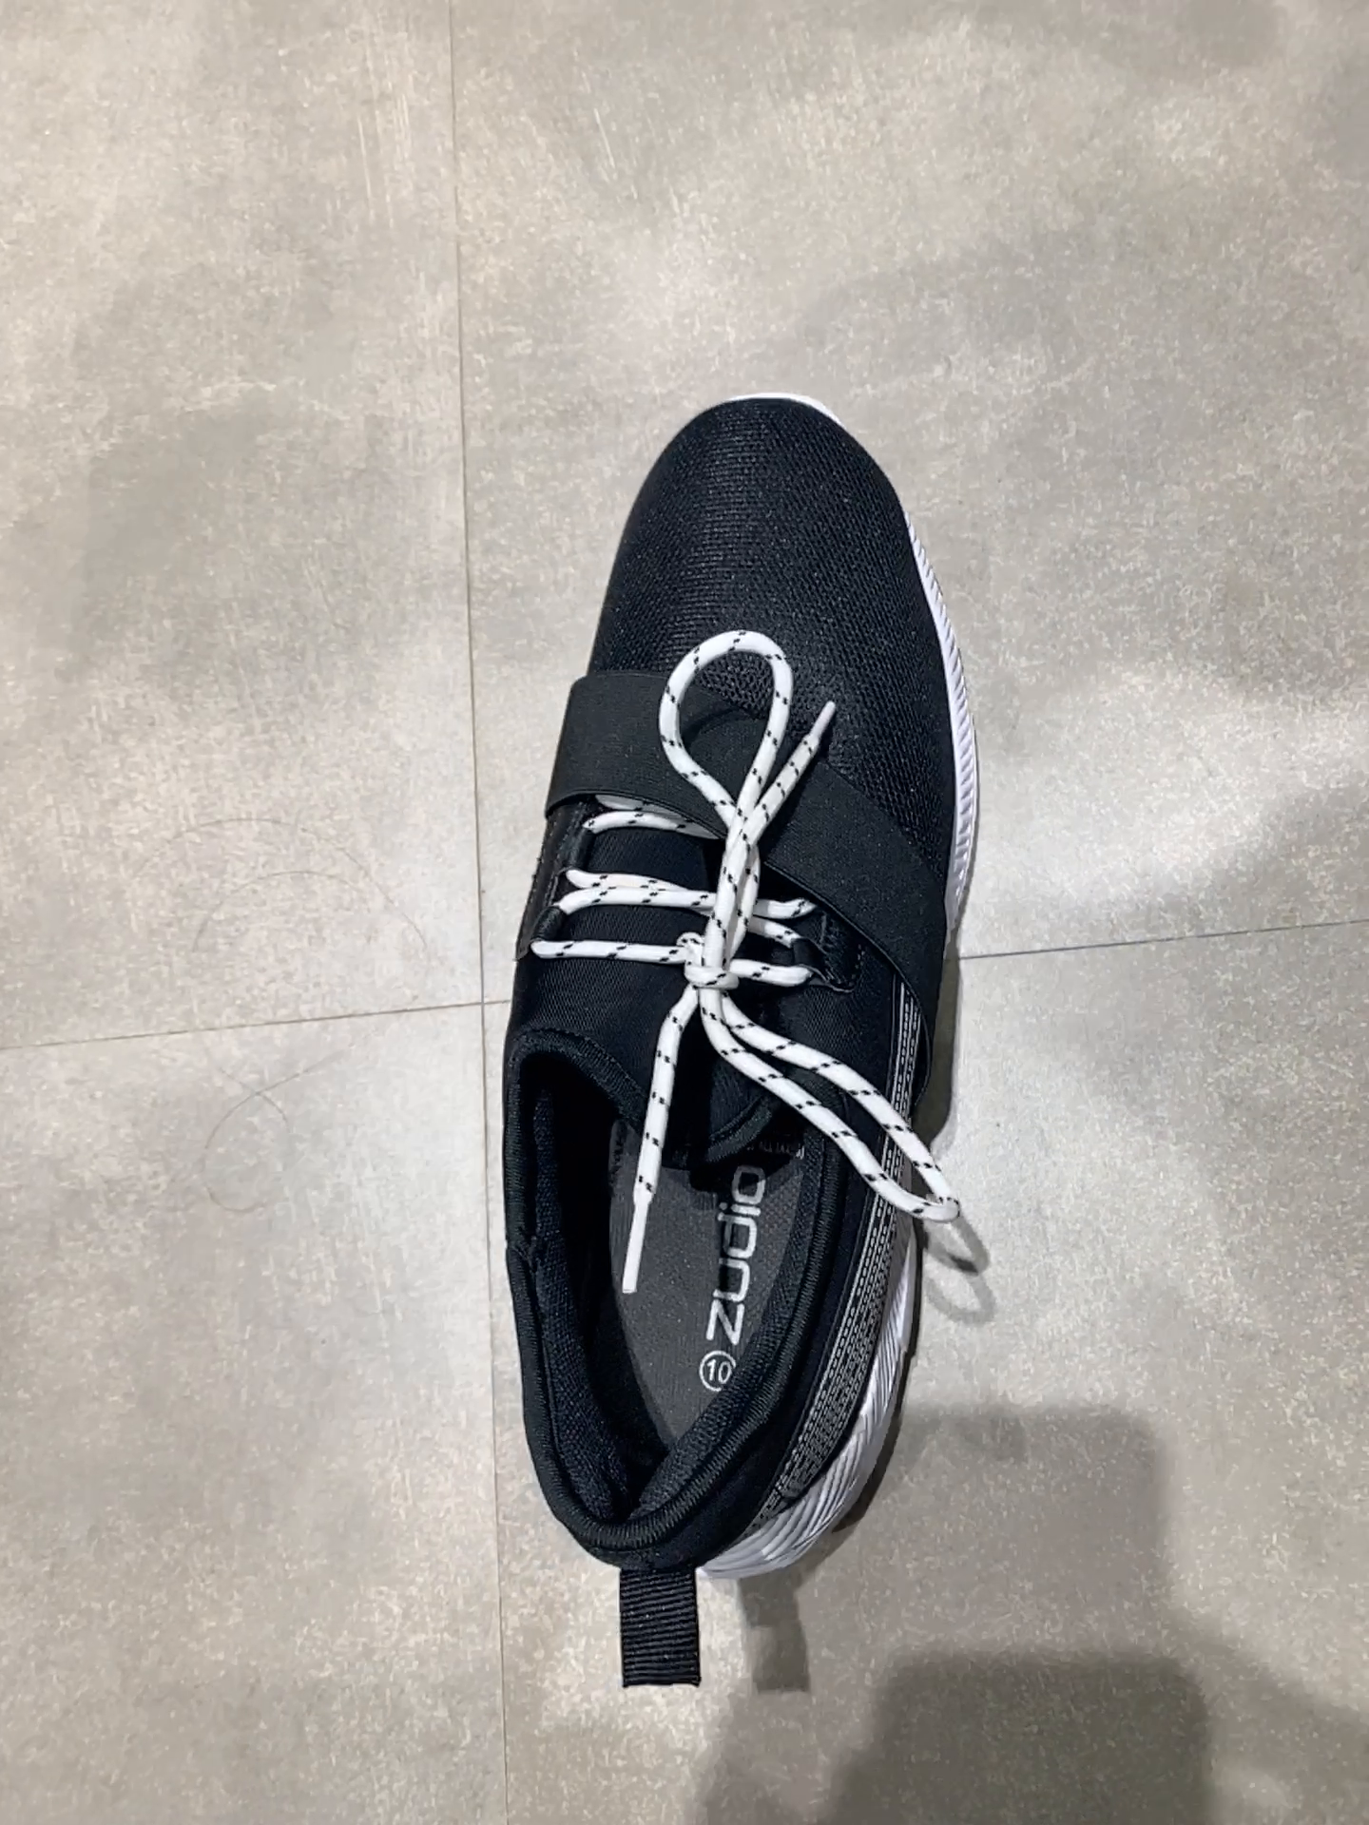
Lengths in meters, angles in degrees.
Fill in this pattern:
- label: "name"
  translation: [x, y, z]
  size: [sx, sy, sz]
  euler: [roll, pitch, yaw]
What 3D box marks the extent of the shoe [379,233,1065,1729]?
- label: "shoe"
  translation: [0.023, 0.008, 0.352]
  size: [0.116, 0.132, 0.304]
  euler: [3, 76, 9]
